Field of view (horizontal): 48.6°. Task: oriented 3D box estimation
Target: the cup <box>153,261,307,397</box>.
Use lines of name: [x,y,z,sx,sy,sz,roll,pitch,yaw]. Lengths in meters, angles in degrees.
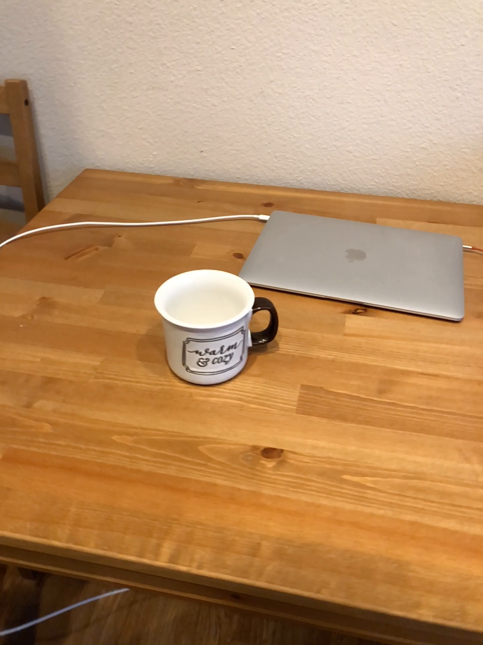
cup: [-0.017,0.003,0.598,0.150,0.080,0.121,-5,38,-7]
